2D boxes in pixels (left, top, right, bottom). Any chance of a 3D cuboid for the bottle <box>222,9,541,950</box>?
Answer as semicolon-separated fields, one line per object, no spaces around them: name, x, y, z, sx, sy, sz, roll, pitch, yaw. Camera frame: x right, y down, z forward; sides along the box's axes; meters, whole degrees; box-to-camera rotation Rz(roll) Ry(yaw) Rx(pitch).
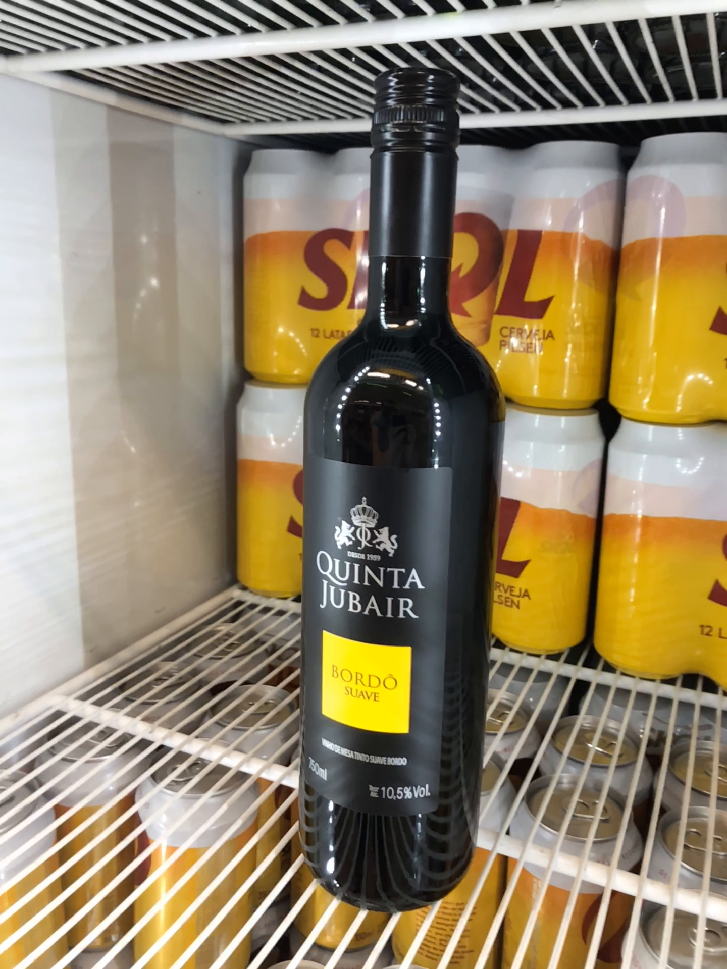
bottle;0.007;0.005;0.289;0.080;0.289;0.070;6;14;24
